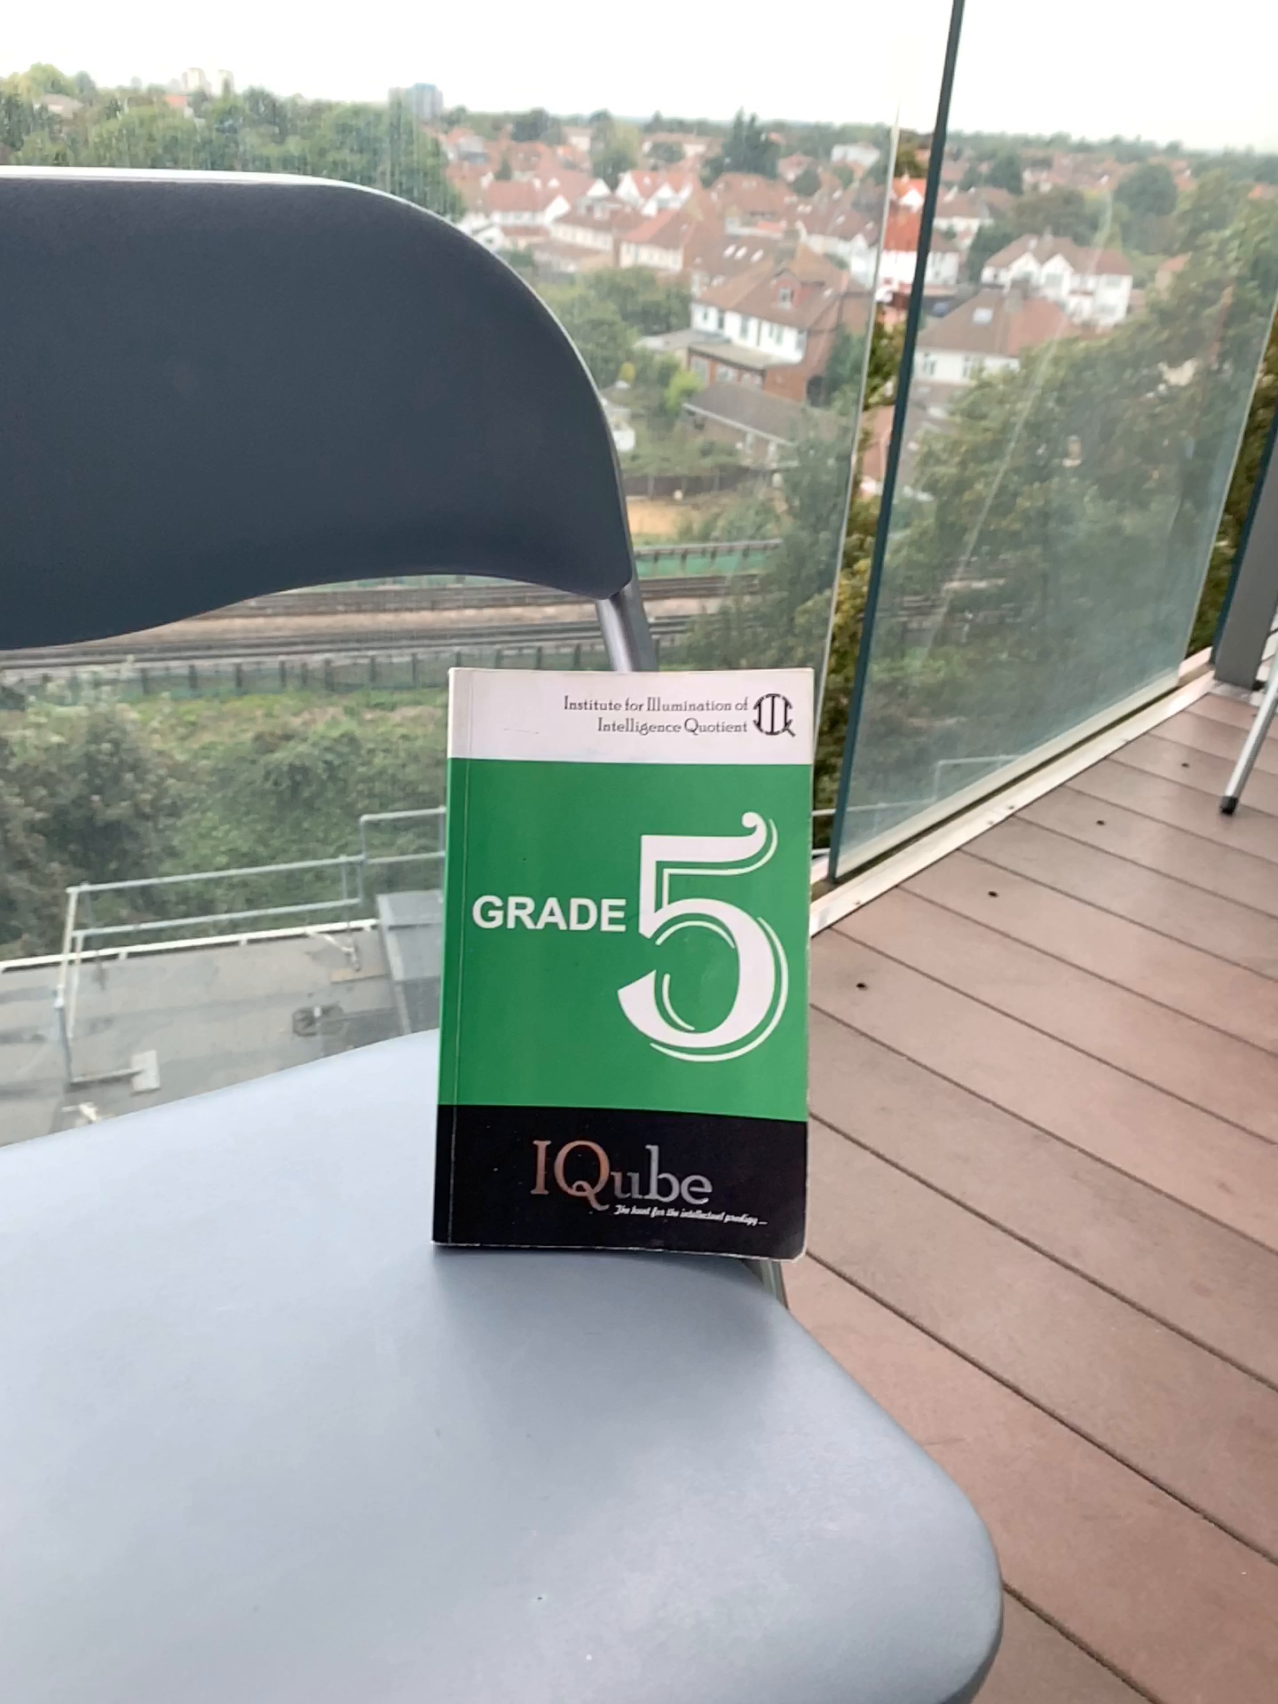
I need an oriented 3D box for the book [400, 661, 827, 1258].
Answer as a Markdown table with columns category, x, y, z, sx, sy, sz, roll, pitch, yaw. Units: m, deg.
| category | x | y | z | sx | sy | sz | roll | pitch | yaw |
| --- | --- | --- | --- | --- | --- | --- | --- | --- | --- |
| book | -0.007 | 0.037 | 0.488 | 0.150 | 0.210 | 0.040 | 0 | -5 | 3 |
